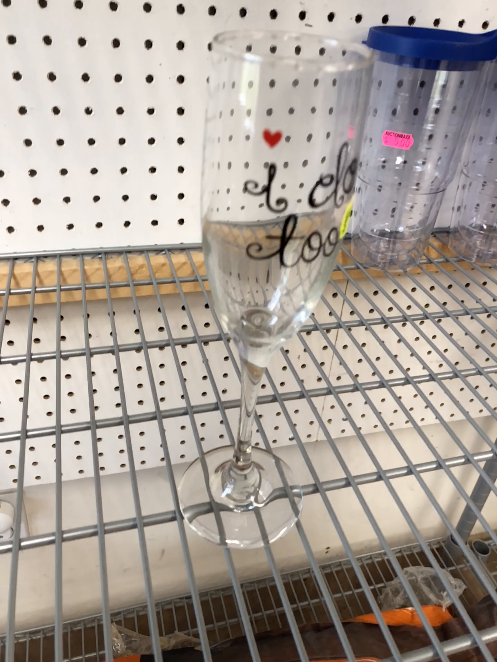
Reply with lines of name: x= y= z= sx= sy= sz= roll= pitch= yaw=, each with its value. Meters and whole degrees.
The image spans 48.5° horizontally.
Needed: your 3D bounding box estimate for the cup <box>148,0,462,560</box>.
cup: x=0.006 y=-0.010 z=0.225 sx=0.070 sy=0.209 sz=0.070 roll=4 pitch=34 yaw=-2
